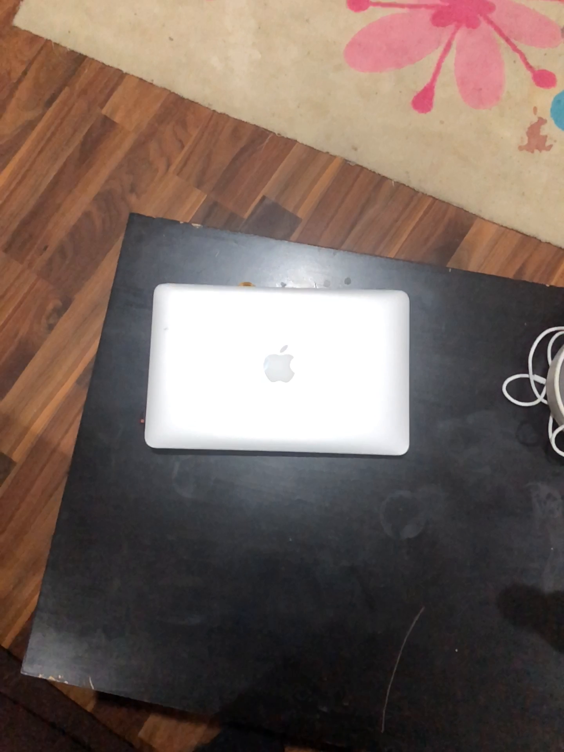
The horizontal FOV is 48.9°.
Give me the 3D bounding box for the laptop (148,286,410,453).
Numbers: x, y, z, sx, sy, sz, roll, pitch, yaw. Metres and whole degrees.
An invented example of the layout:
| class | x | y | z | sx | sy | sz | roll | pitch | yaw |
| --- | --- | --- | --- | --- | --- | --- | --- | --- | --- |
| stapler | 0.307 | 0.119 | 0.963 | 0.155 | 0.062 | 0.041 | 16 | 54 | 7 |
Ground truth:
| class | x | y | z | sx | sy | sz | roll | pitch | yaw |
| --- | --- | --- | --- | --- | --- | --- | --- | --- | --- |
| laptop | -0.002 | -0.007 | 0.731 | 0.300 | 0.011 | 0.190 | 2 | 86 | -1 |
